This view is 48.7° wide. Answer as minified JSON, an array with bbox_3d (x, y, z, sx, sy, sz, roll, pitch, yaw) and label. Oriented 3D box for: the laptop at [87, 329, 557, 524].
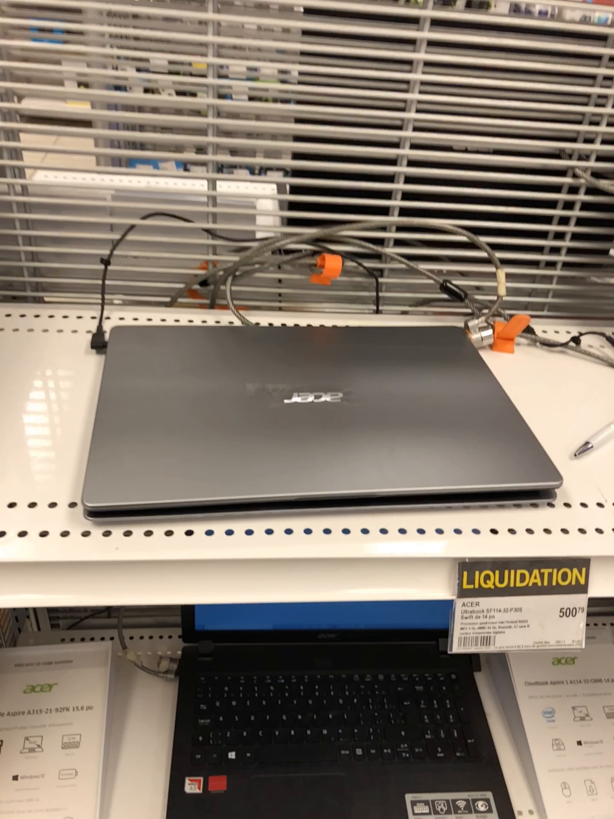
[{"bbox_3d":[0.004,-0.002,0.535,0.316,0.006,0.220,-1,39,-9],"label":"laptop"}]
